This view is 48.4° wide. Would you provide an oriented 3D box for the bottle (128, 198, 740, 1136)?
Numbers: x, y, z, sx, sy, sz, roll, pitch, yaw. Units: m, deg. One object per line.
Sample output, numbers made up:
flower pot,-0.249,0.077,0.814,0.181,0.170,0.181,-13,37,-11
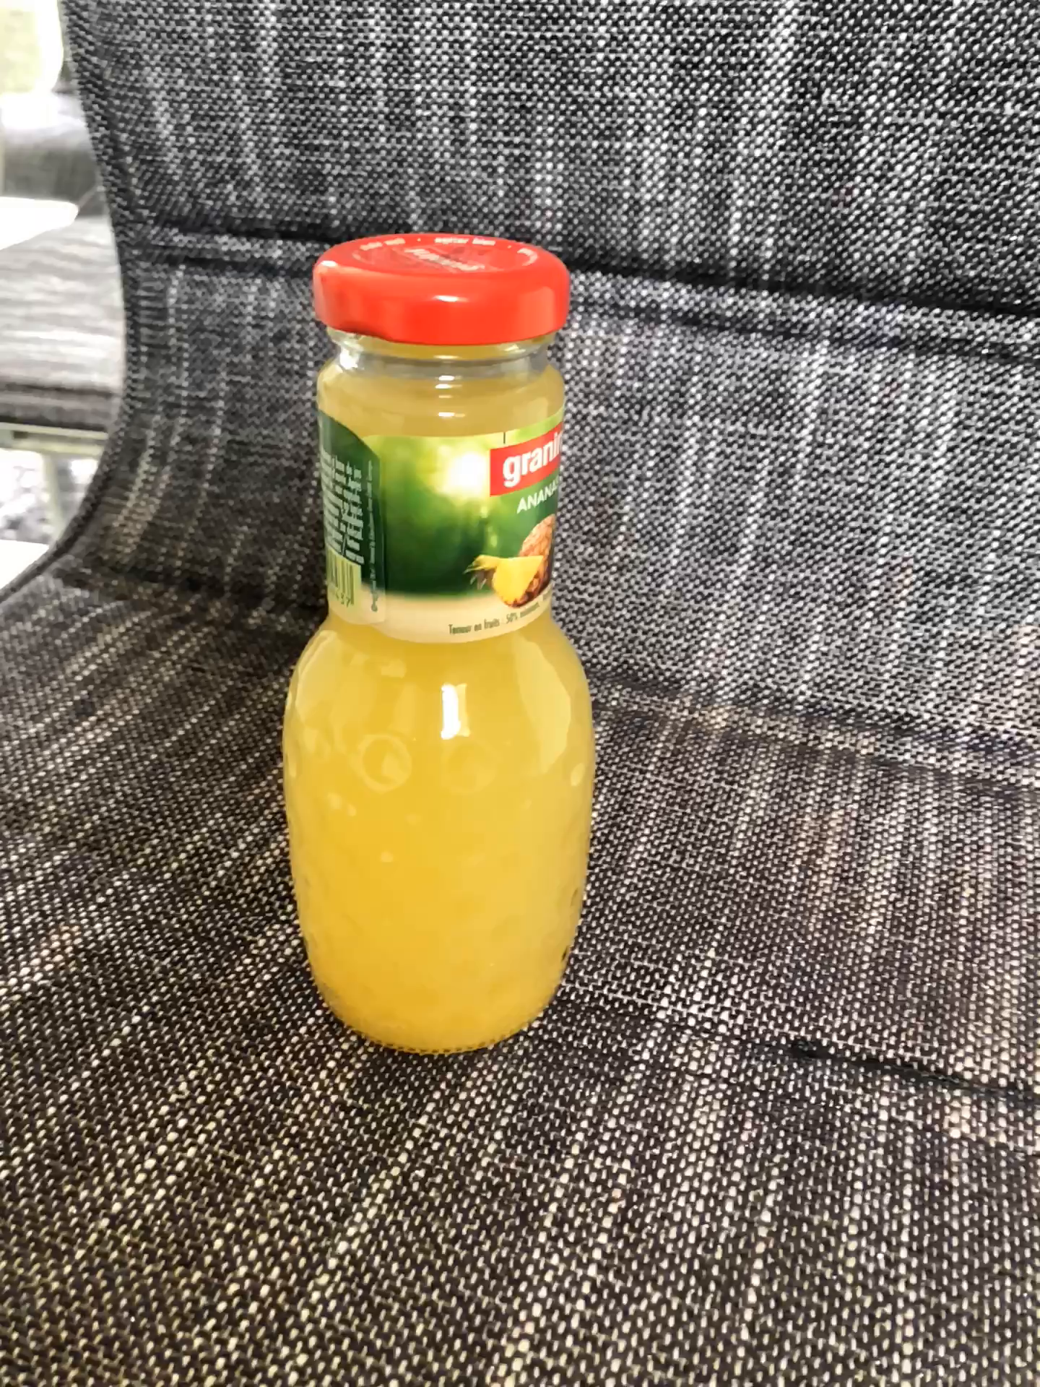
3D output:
bottle,-0.012,-0.006,0.219,0.070,0.149,0.070,2,30,-1
